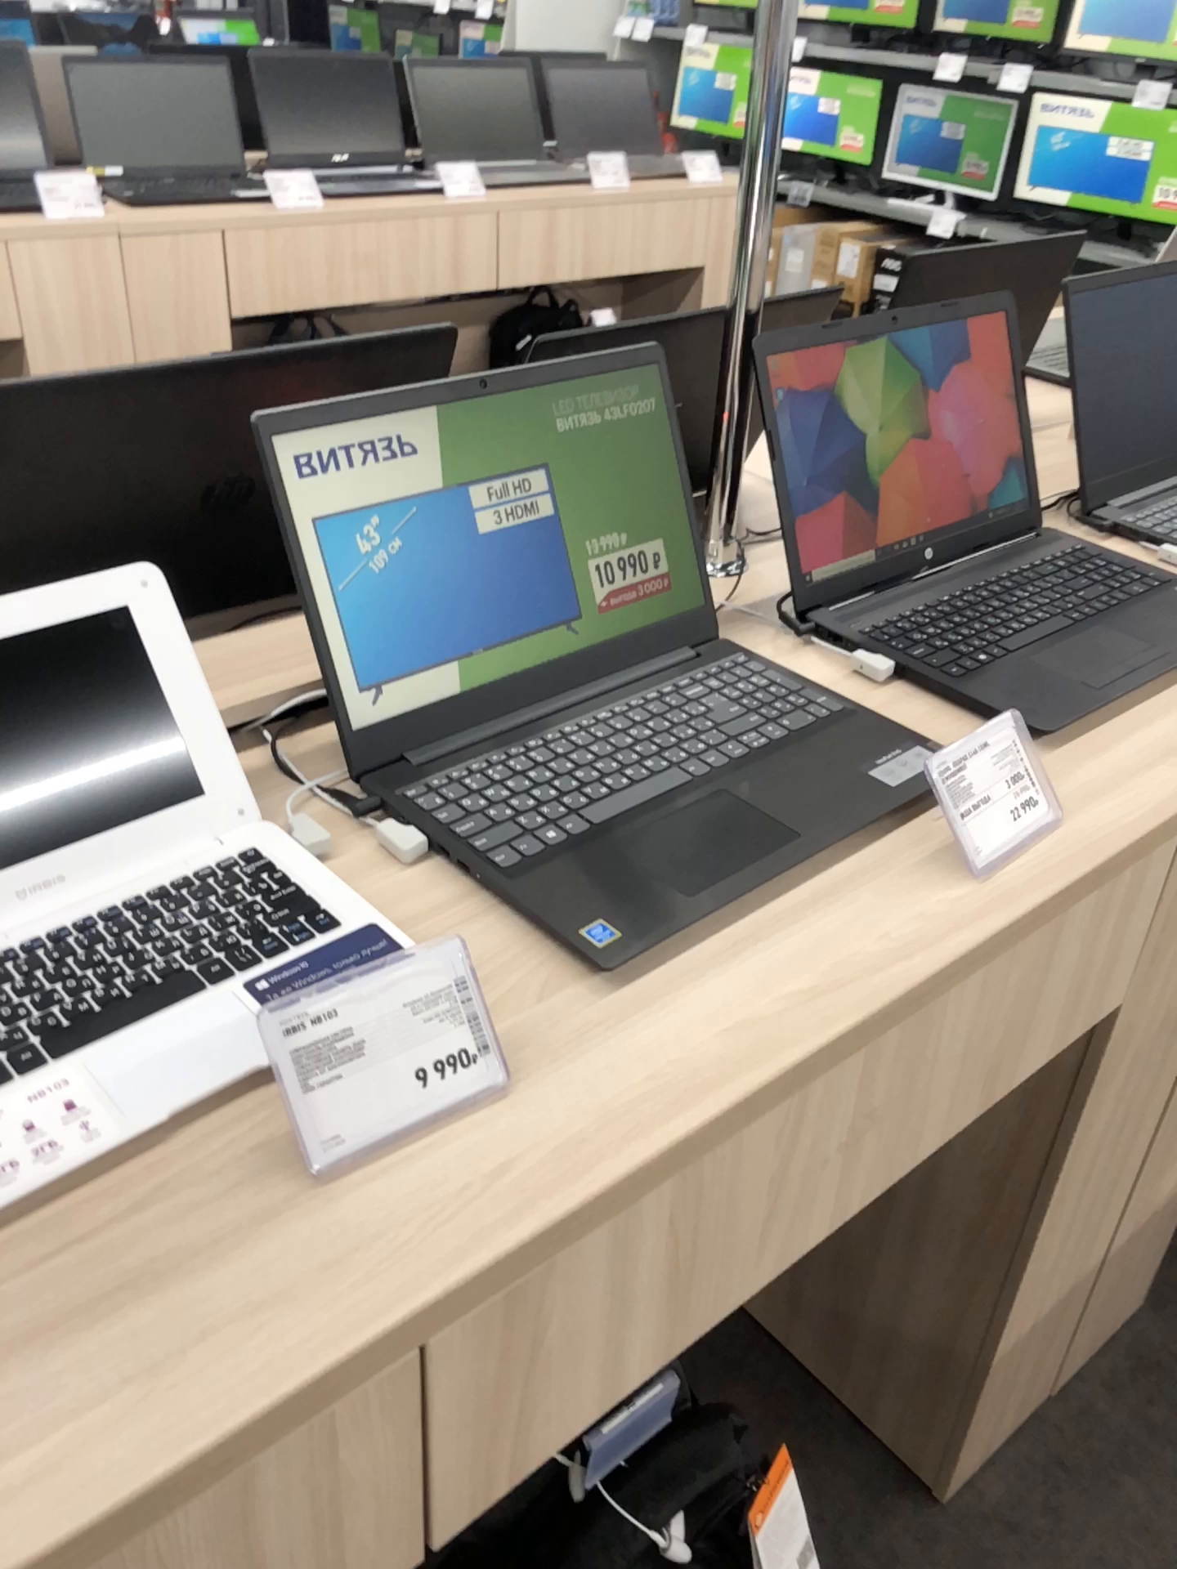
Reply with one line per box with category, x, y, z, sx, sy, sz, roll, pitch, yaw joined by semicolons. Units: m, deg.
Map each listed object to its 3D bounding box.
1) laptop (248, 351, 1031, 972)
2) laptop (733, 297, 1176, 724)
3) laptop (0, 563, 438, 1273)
laptop;0.028;-0.119;0.855;0.355;0.212;0.341;-23;41;-38
laptop;0.383;-0.261;1.112;0.375;0.206;0.322;-22;40;-35
laptop;-0.277;0.031;0.657;0.280;0.139;0.290;-24;42;-37
